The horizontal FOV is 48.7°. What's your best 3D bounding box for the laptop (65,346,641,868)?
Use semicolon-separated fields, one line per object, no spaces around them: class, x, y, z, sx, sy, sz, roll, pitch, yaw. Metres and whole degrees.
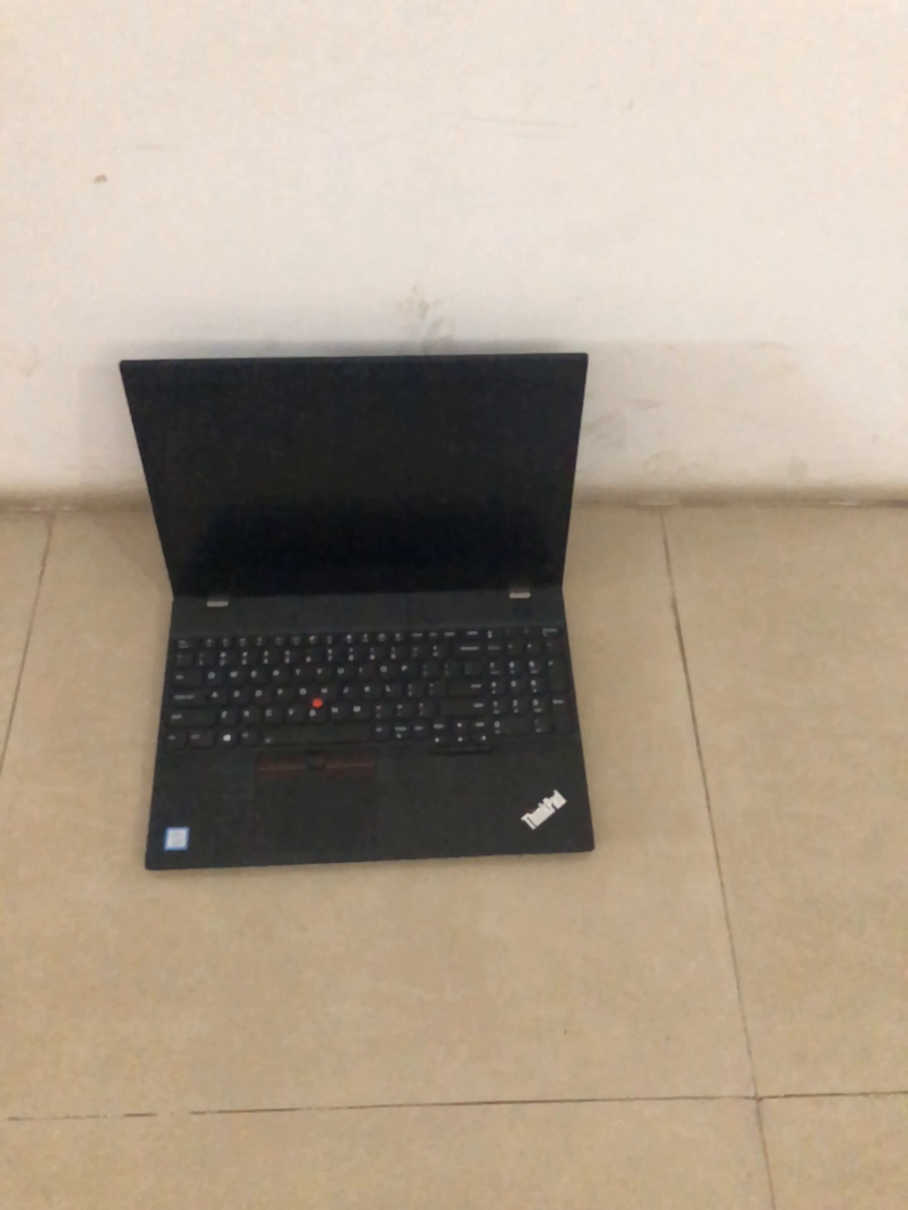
laptop;-0.071;0.003;0.783;0.351;0.215;0.328;-2;61;-3
